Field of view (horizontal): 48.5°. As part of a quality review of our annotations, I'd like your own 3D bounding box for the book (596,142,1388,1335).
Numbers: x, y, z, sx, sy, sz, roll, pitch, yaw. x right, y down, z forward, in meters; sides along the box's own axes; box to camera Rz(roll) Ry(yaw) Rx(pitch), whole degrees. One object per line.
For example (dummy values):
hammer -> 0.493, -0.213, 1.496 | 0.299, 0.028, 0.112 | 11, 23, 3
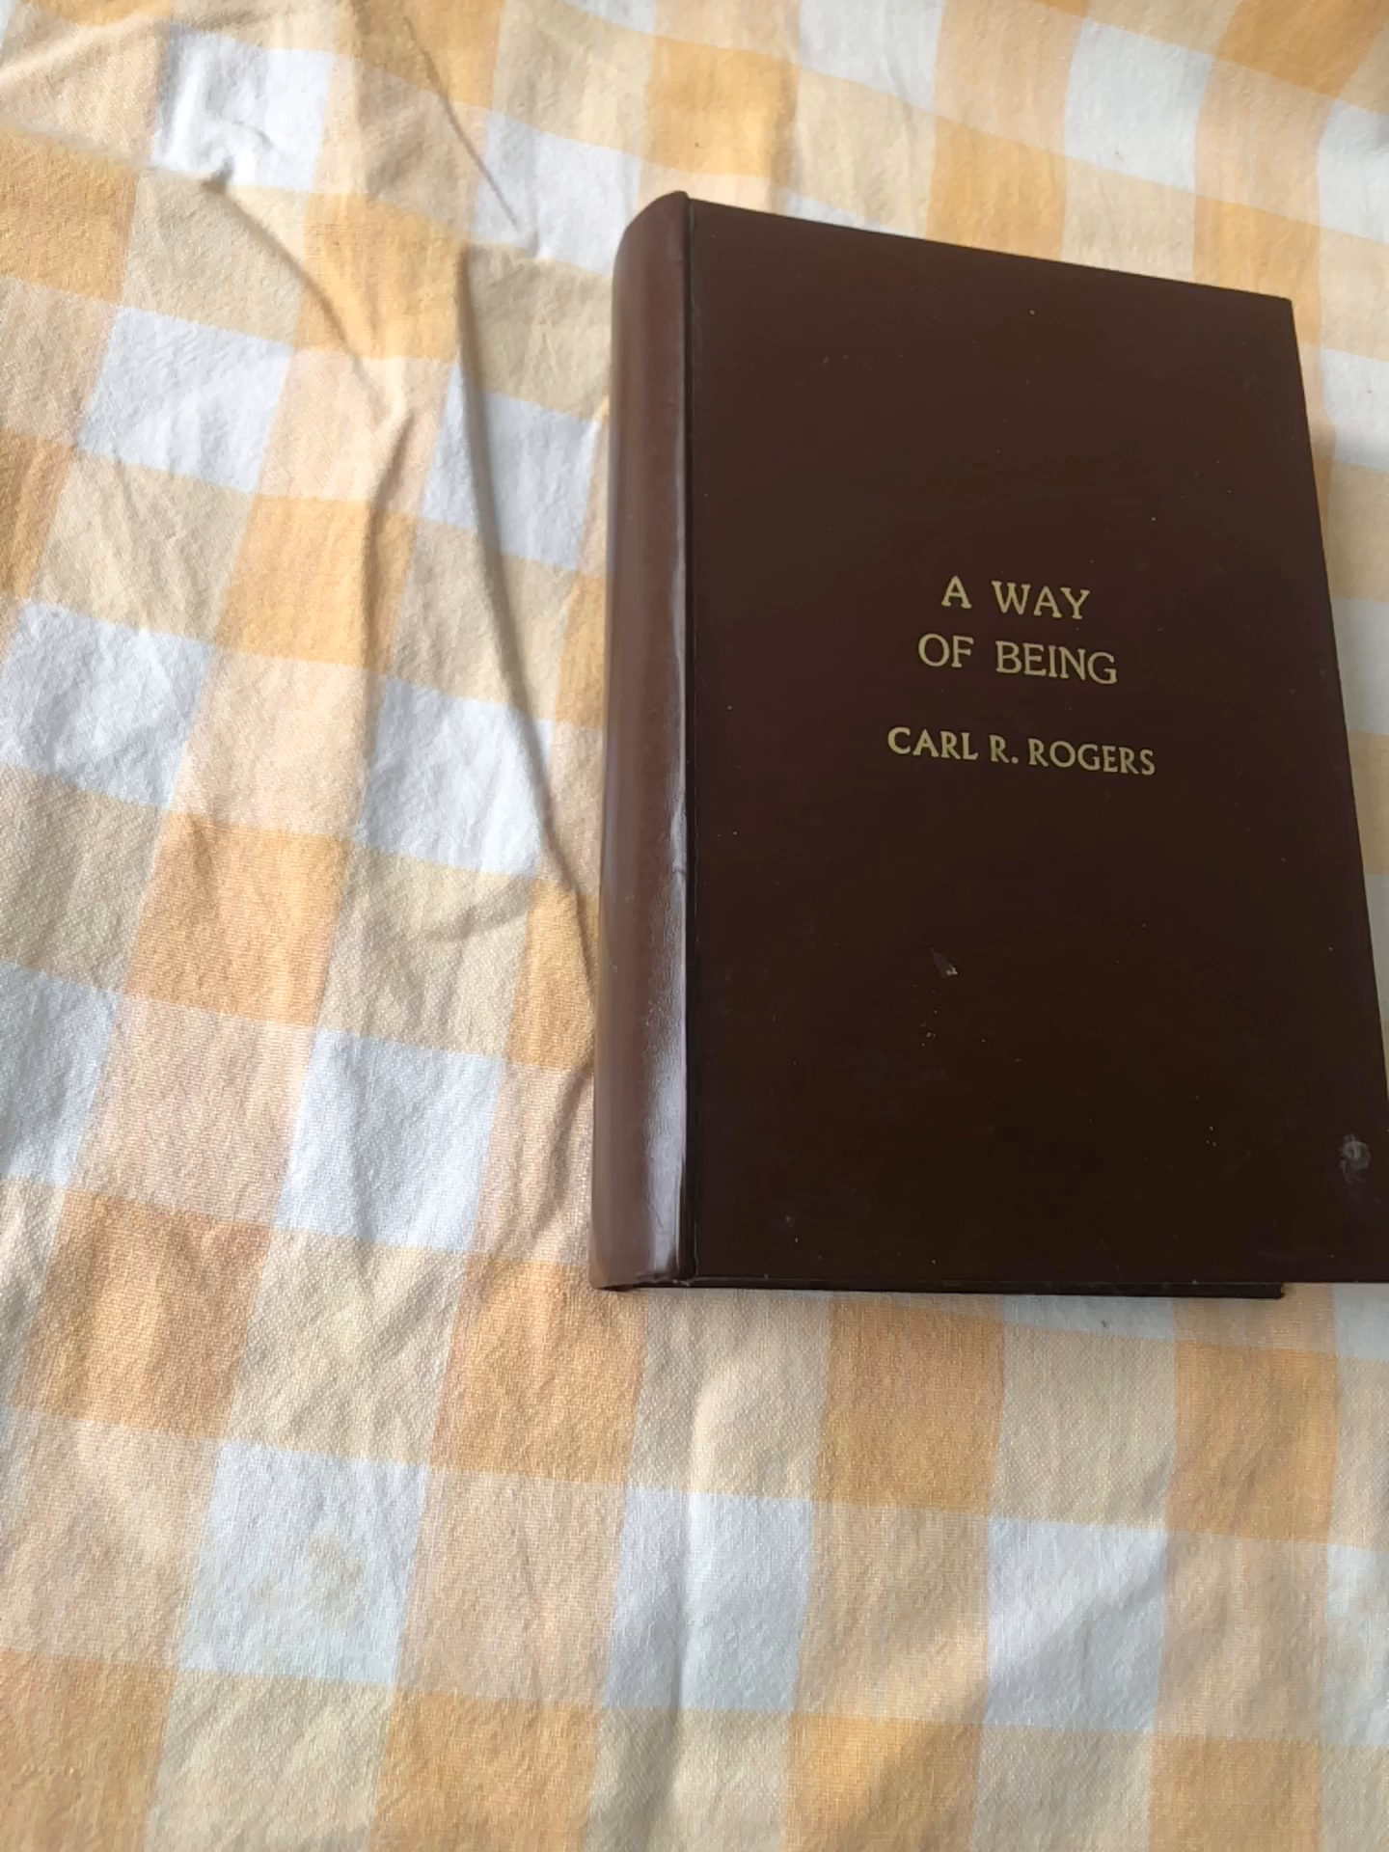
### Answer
book -> 0.056, -0.031, 0.298 | 0.140, 0.060, 0.210 | 3, 74, -13
